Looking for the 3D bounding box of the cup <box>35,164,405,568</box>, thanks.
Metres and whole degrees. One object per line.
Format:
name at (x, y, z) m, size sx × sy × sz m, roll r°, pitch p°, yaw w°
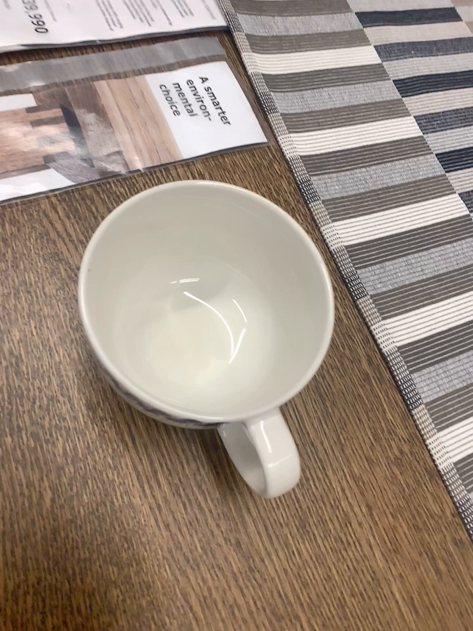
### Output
cup at (-0.014, 0.017, 0.214) m, size 0.100 × 0.070 × 0.130 m, roll -17°, pitch 74°, yaw -20°
